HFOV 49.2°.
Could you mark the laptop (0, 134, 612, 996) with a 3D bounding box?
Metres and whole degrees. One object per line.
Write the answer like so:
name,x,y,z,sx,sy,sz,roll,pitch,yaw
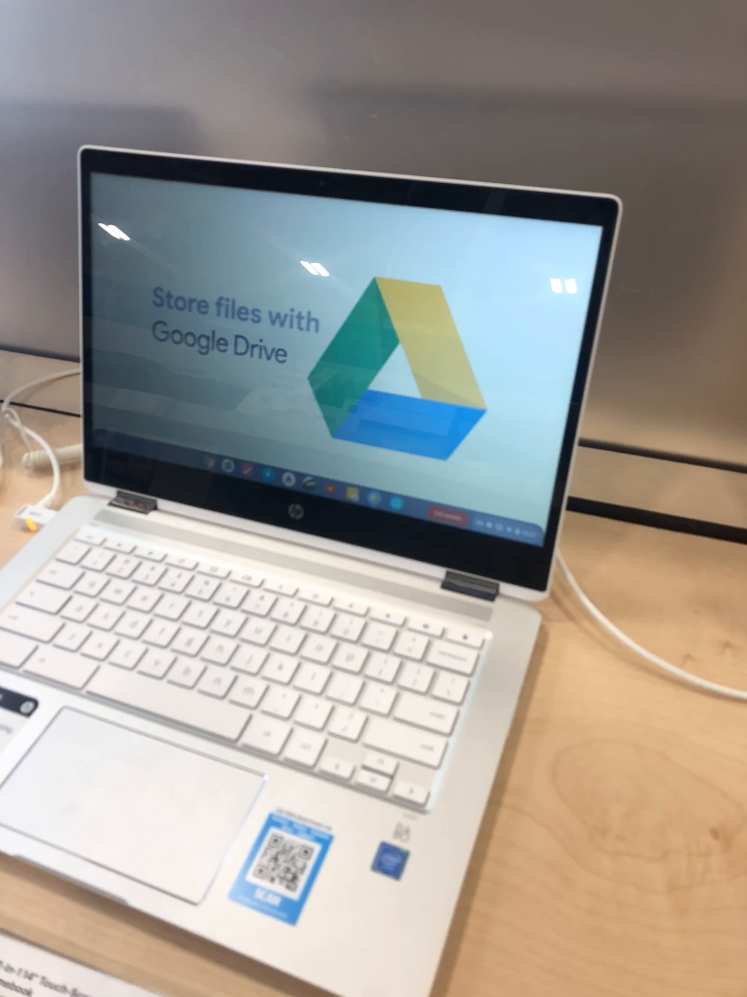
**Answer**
laptop,-0.082,-0.011,0.415,0.323,0.205,0.319,12,44,17
